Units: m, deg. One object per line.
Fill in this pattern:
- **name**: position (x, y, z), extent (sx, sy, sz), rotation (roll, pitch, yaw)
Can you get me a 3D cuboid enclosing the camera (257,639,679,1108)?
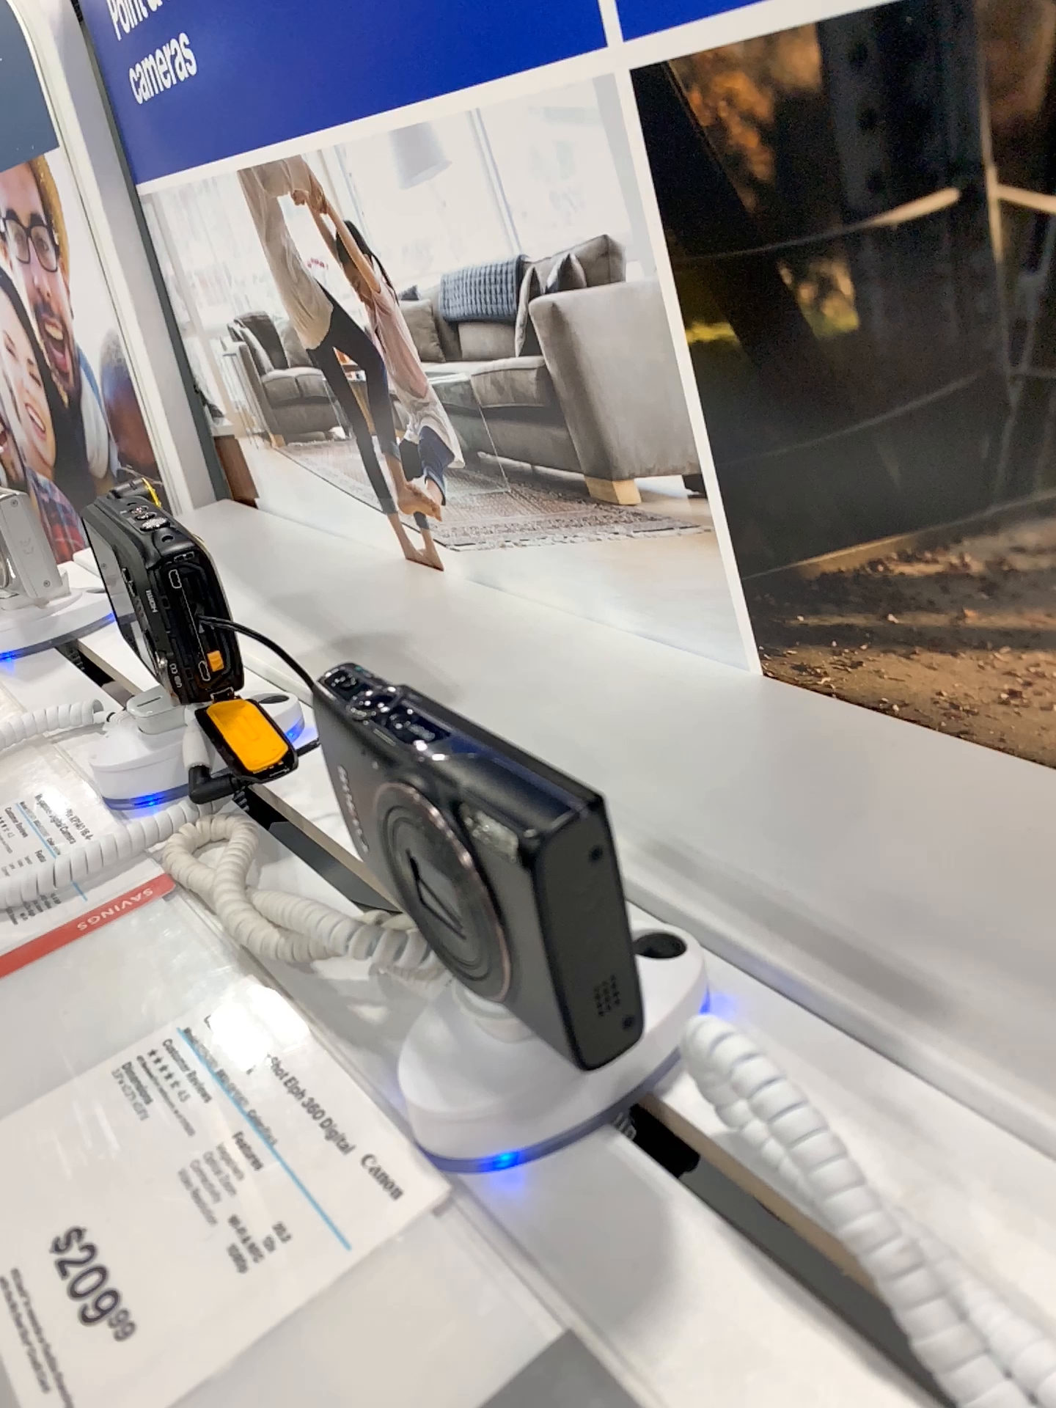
- **camera**: position (-0.017, 0.029, 0.232), extent (0.027, 0.055, 0.106), rotation (-25, 30, -29)
